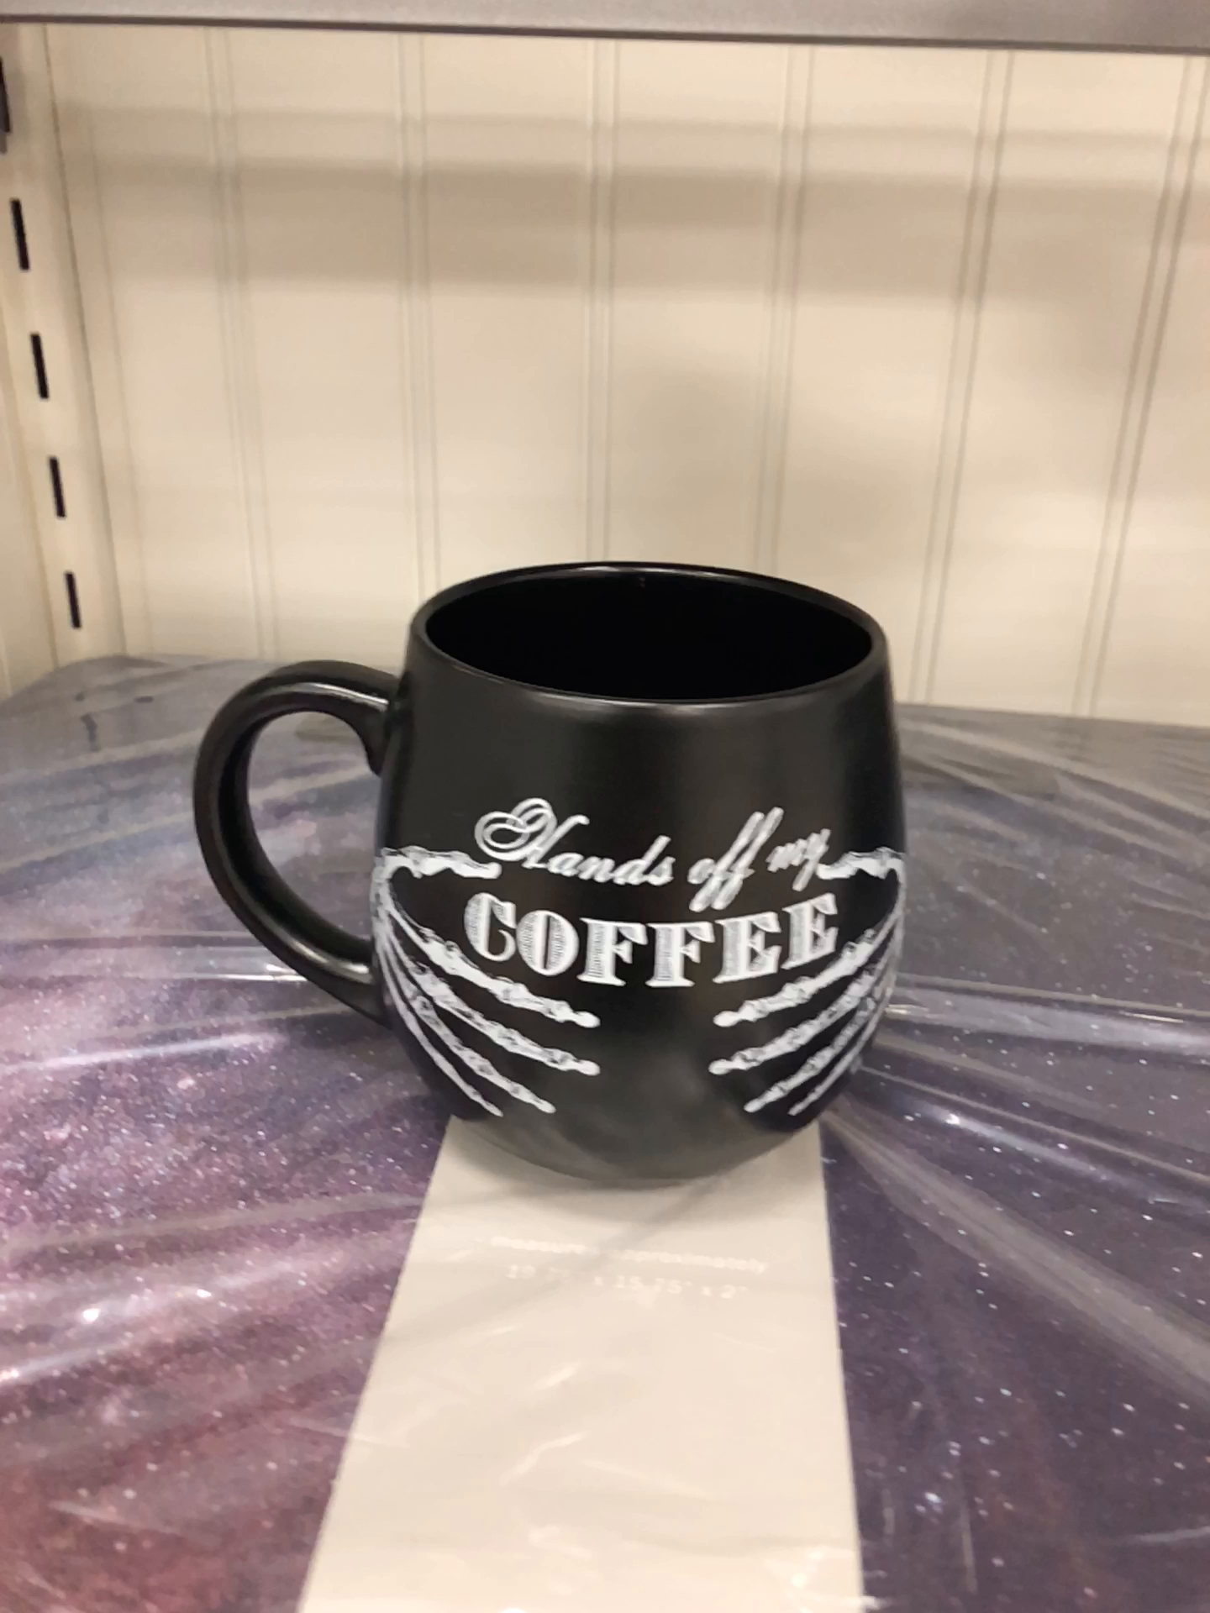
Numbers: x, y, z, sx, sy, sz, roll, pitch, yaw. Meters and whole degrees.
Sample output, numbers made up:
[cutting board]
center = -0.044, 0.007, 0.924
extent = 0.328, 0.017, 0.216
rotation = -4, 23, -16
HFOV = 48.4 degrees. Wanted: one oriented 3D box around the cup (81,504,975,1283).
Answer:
[cup]
center = -0.006, 0.006, 0.267
extent = 0.140, 0.099, 0.101
rotation = 8, 26, 12
